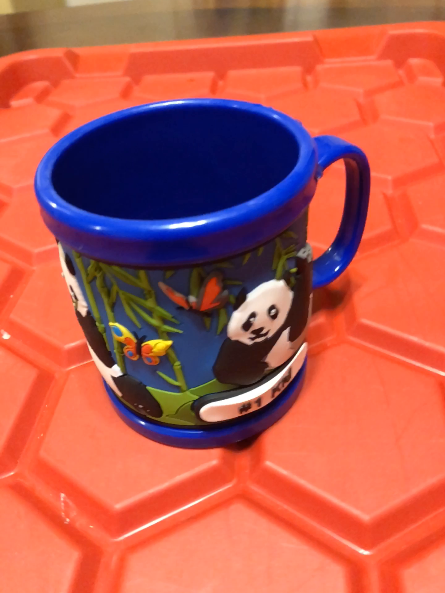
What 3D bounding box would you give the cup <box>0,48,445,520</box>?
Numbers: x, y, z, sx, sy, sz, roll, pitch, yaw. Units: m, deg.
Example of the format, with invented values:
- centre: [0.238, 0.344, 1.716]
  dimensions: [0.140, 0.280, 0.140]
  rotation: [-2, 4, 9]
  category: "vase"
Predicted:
- centre: [0.005, -0.013, 0.178]
  dimensions: [0.120, 0.099, 0.090]
  rotation: [-24, 46, -21]
  category: "cup"
